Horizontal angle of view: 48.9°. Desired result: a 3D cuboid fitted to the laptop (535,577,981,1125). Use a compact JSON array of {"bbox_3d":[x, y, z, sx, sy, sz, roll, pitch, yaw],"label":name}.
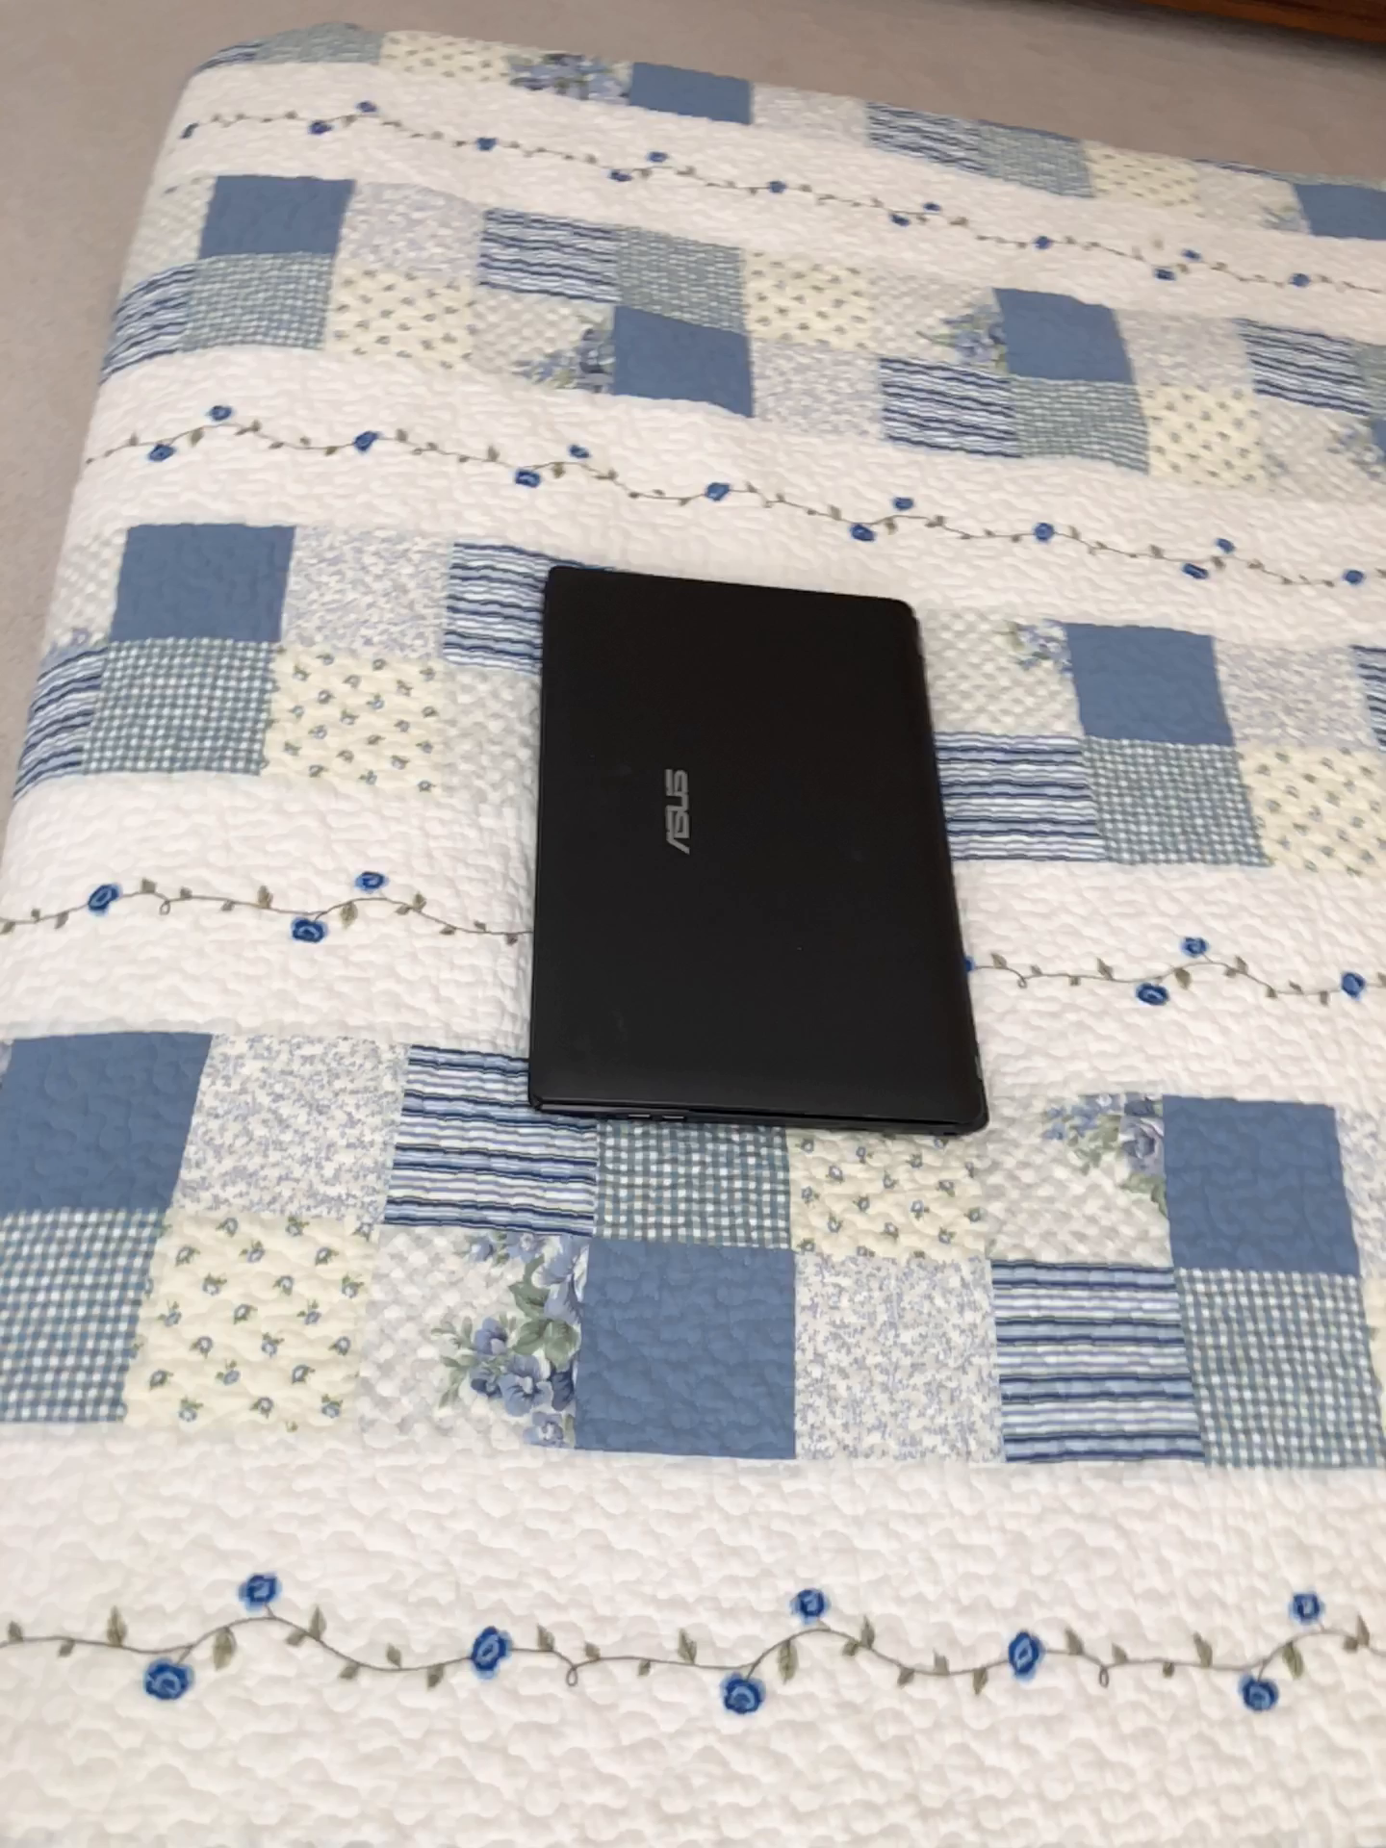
[{"bbox_3d":[0.032,-0.057,0.889,0.234,0.006,0.370,4,57,-8],"label":"laptop"}]
